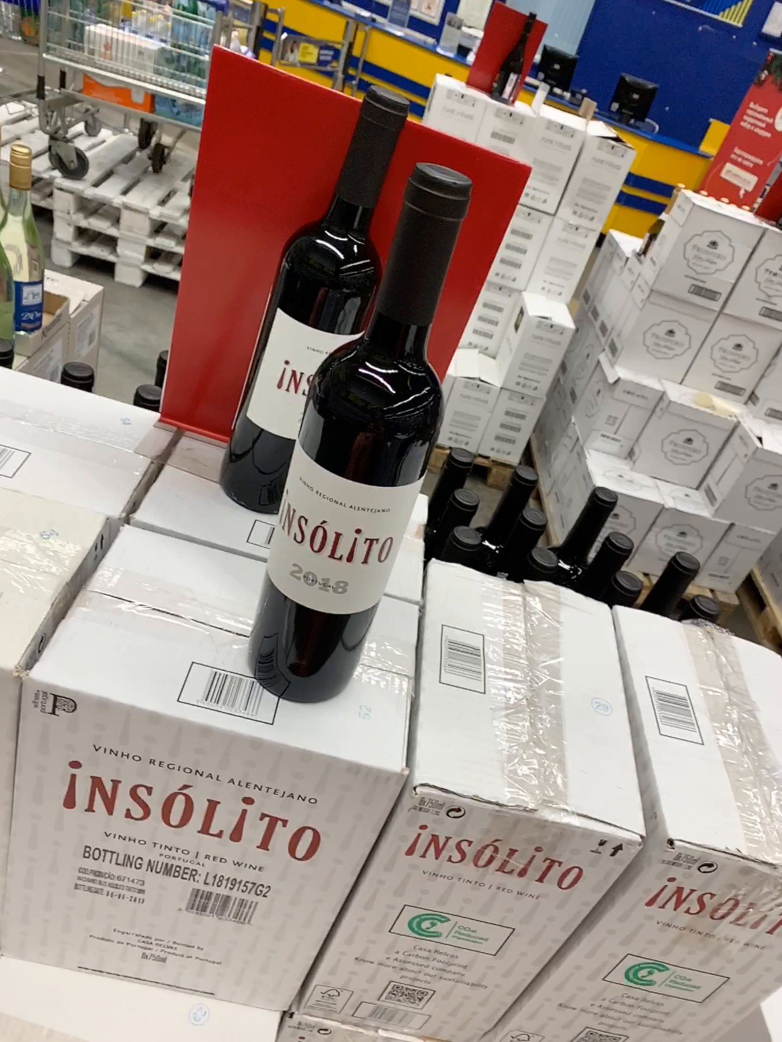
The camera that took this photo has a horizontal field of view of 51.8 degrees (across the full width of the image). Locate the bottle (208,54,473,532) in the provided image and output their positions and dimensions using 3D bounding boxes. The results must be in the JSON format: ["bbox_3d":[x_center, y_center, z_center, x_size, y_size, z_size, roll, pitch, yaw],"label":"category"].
[{"bbox_3d":[-0.055,-0.143,0.587,0.090,0.318,0.090,15,38,-12],"label":"bottle"}]

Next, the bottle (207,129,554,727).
[{"bbox_3d":[-0.016,-0.034,0.445,0.090,0.308,0.091,14,34,-10],"label":"bottle"}]
